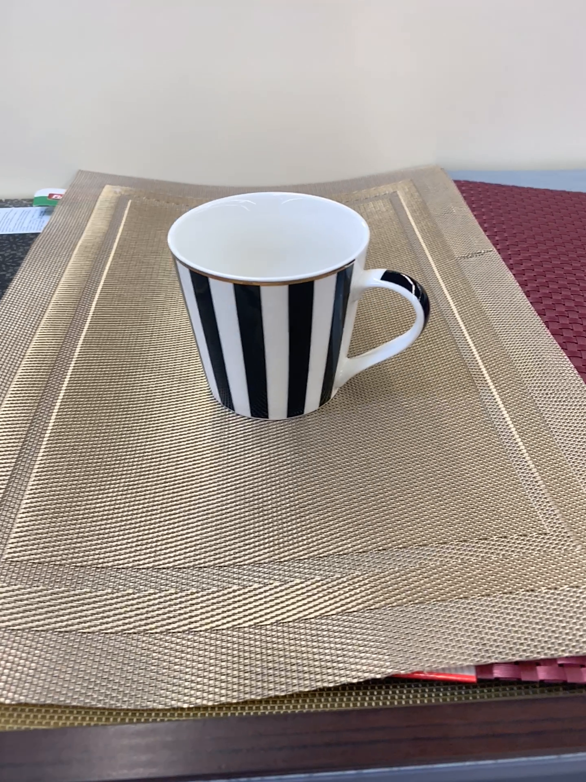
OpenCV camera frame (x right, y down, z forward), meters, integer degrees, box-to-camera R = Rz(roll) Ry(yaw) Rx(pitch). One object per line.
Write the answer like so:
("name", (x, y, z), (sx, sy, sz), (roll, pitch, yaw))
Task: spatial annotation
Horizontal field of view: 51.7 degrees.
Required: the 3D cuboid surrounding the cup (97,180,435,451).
("cup", (-0.008, -0.046, 0.310), (0.130, 0.080, 0.100), (13, 38, 19))
